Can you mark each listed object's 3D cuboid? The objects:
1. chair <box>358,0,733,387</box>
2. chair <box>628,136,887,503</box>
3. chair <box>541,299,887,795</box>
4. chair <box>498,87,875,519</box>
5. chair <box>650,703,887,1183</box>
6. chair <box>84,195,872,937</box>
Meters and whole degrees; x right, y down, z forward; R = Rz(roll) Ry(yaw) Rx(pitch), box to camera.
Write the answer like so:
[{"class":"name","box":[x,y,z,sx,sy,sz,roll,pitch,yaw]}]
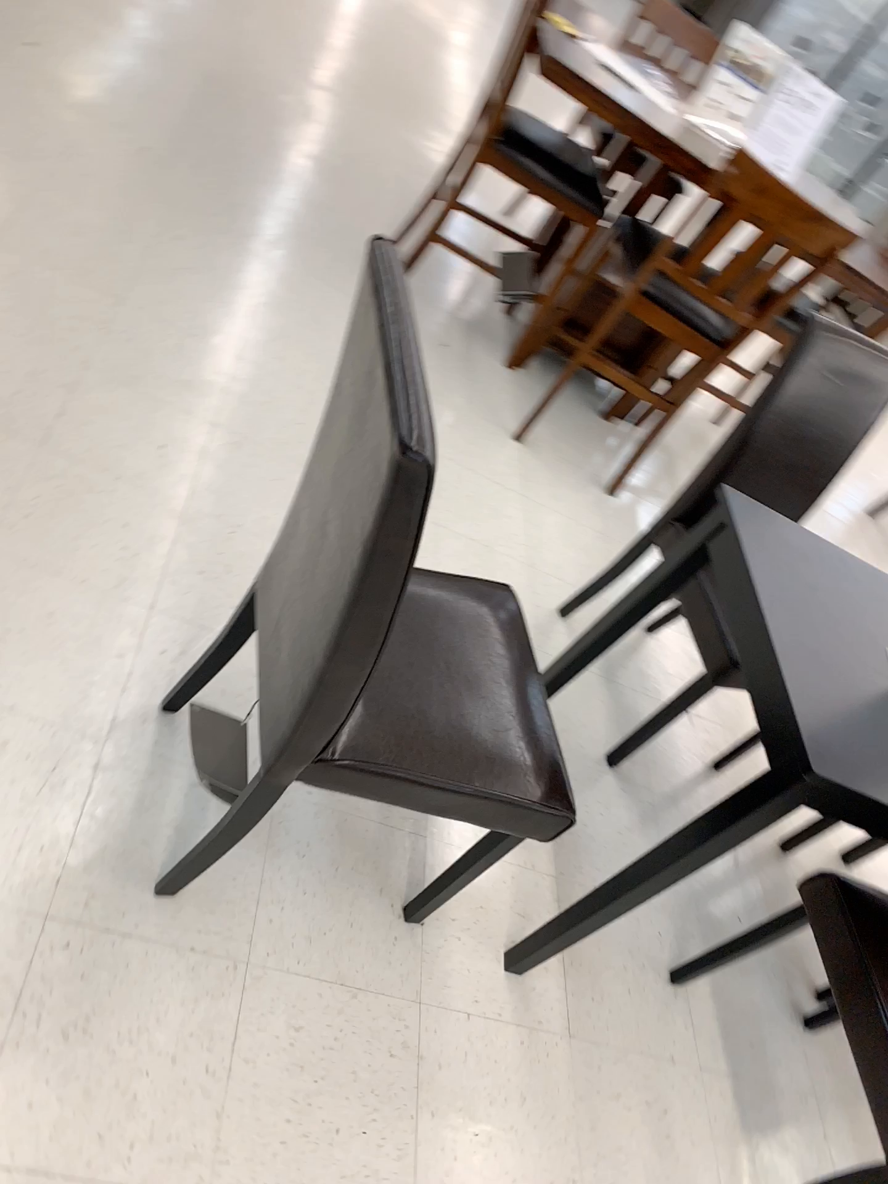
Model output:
[{"class":"chair","box":[0.273,-1.298,2.846,0.644,1.010,0.466,26,40,-18]},{"class":"chair","box":[1.233,-0.932,3.231,0.644,0.980,0.466,28,40,-15]},{"class":"chair","box":[0.729,-0.041,2.027,0.415,0.930,0.596,11,46,-32]},{"class":"chair","box":[0.663,-0.839,2.699,0.464,0.980,0.647,30,39,-12]},{"class":"chair","box":[0.827,0.716,1.365,0.414,0.930,0.597,22,42,-22]},{"class":"chair","box":[-0.051,0.084,1.264,0.595,0.930,0.426,15,44,-28]}]
